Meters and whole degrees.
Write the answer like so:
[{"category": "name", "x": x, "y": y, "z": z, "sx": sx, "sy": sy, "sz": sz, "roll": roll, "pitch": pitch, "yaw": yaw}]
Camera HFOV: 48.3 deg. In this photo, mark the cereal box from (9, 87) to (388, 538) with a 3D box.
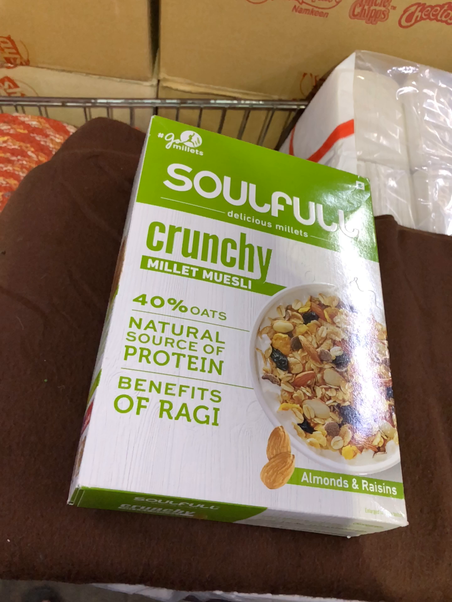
[{"category": "cereal box", "x": -0.005, "y": -0.004, "z": 0.296, "sx": 0.160, "sy": 0.060, "sz": 0.241, "roll": 12, "pitch": 57, "yaw": -11}]
